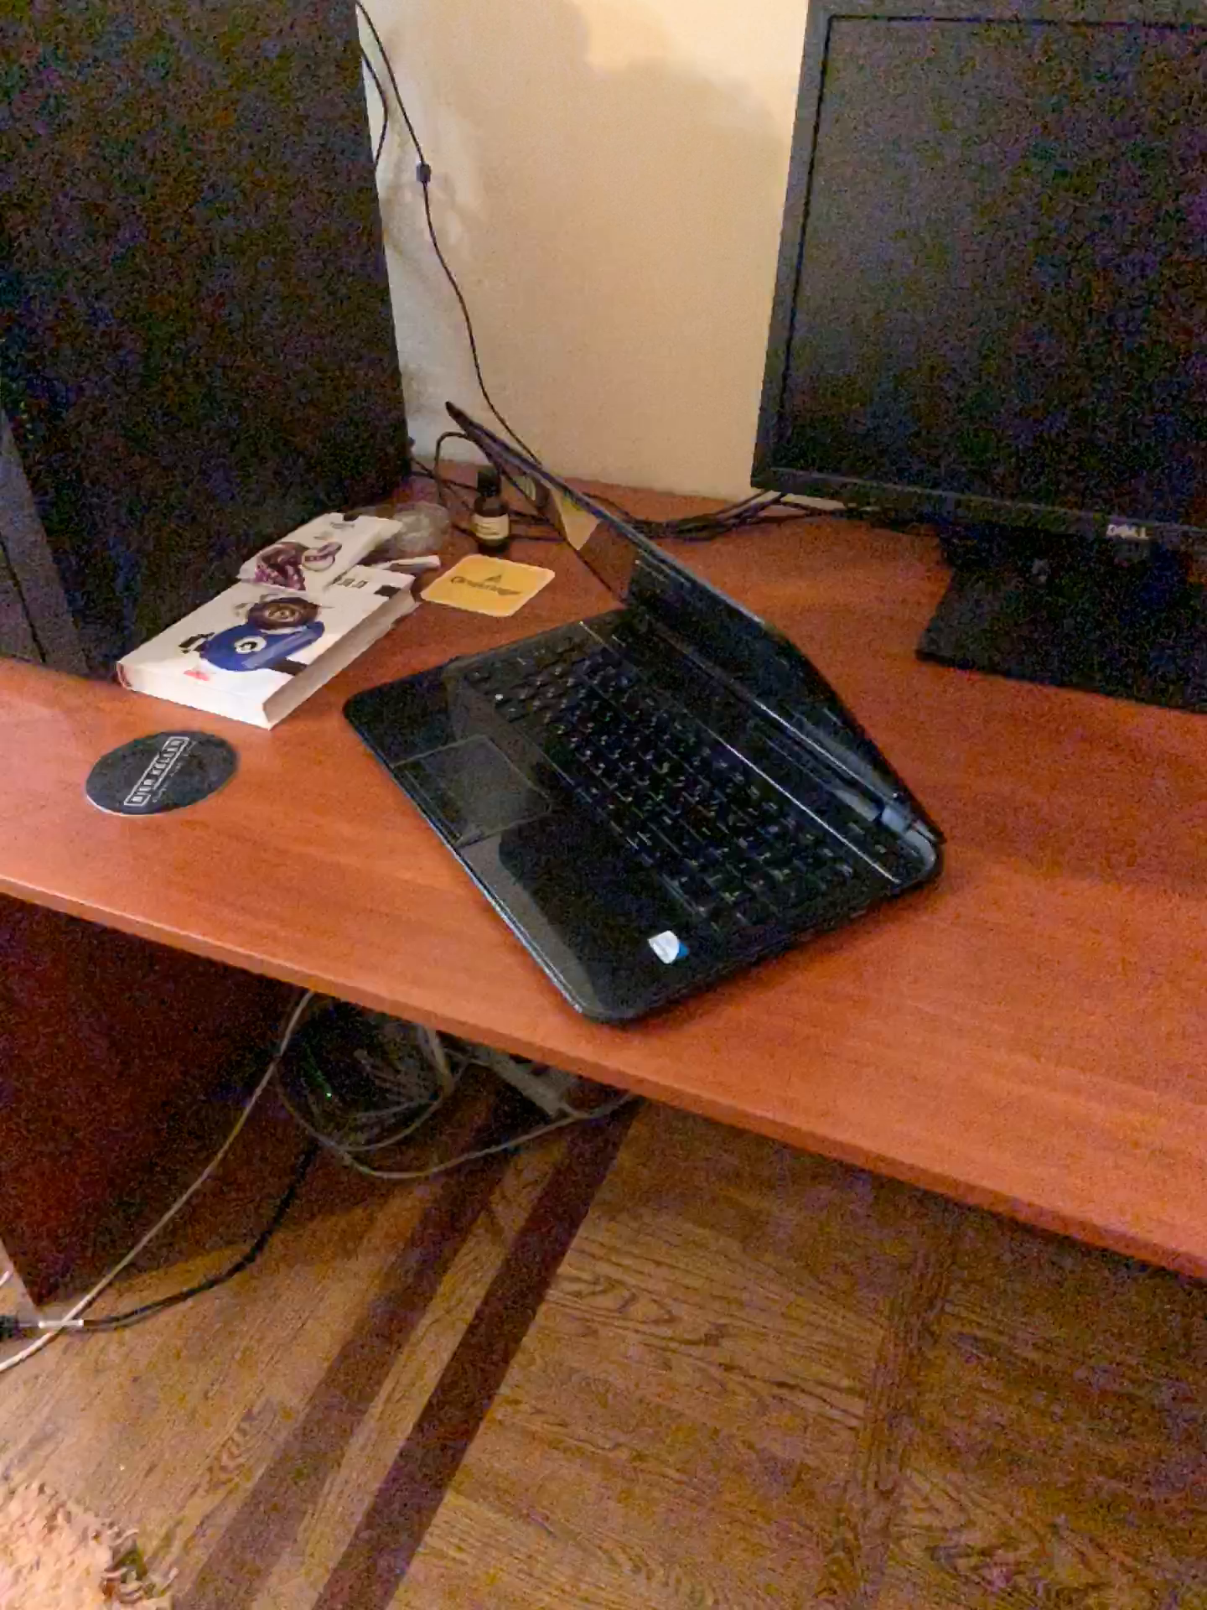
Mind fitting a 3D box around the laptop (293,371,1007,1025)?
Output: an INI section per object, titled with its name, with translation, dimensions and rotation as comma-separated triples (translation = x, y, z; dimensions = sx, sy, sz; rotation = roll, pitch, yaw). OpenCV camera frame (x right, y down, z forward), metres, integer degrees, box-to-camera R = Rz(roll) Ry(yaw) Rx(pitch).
[laptop]
translation = 0.005, -0.098, 0.752
dimensions = 0.244, 0.194, 0.372
rotation = -21, 41, -23
